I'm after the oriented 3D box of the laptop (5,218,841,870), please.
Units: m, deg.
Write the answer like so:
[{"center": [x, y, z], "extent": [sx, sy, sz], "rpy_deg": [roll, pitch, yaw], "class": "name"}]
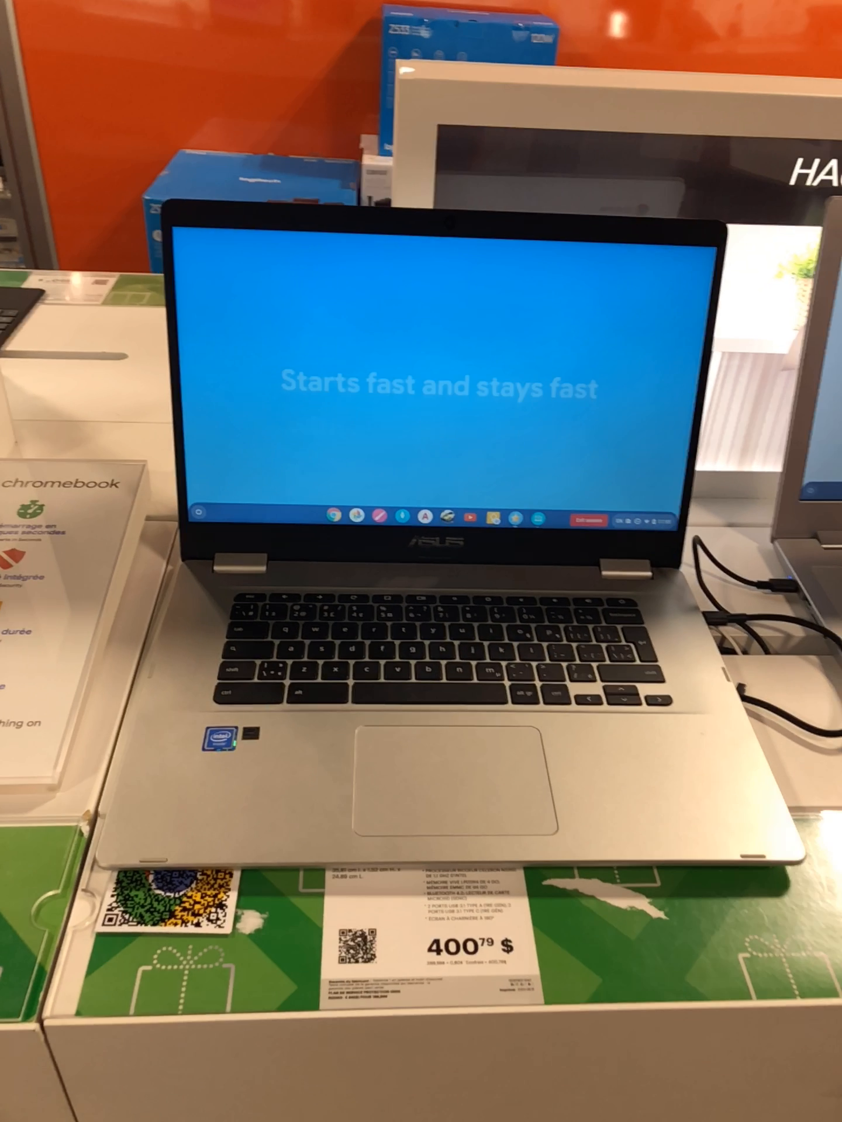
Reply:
[{"center": [0.023, -0.029, 0.503], "extent": [0.337, 0.225, 0.287], "rpy_deg": [0, 36, -3], "class": "laptop"}]
